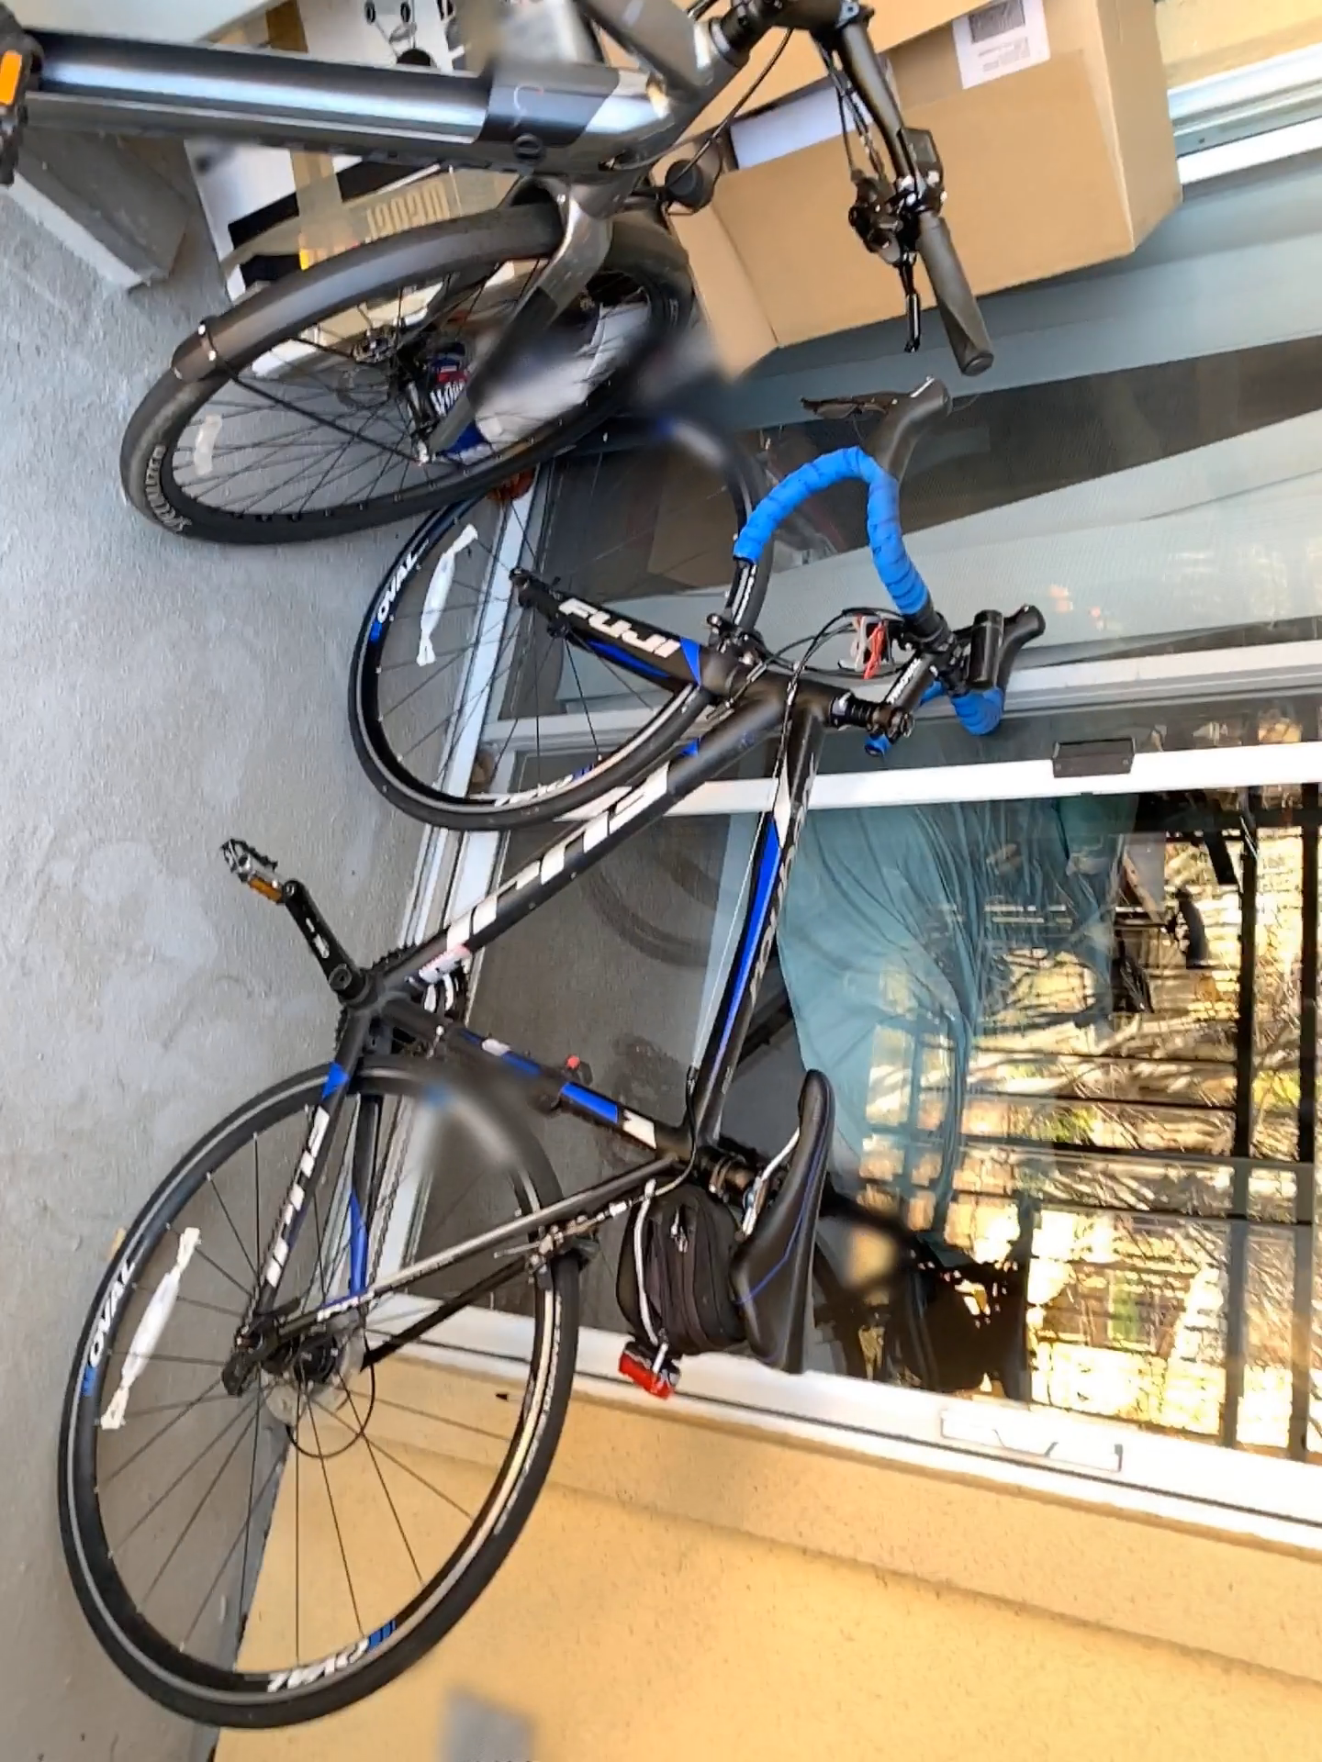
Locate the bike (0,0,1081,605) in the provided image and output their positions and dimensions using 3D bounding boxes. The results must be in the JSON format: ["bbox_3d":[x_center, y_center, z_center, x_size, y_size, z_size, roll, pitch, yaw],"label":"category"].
[{"bbox_3d":[-0.360,-0.854,1.048,1.593,0.970,0.621,22,70,-58],"label":"bike"}]

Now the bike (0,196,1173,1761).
[{"bbox_3d":[-0.104,0.089,1.447,0.365,0.931,1.502,42,58,-50],"label":"bike"}]
